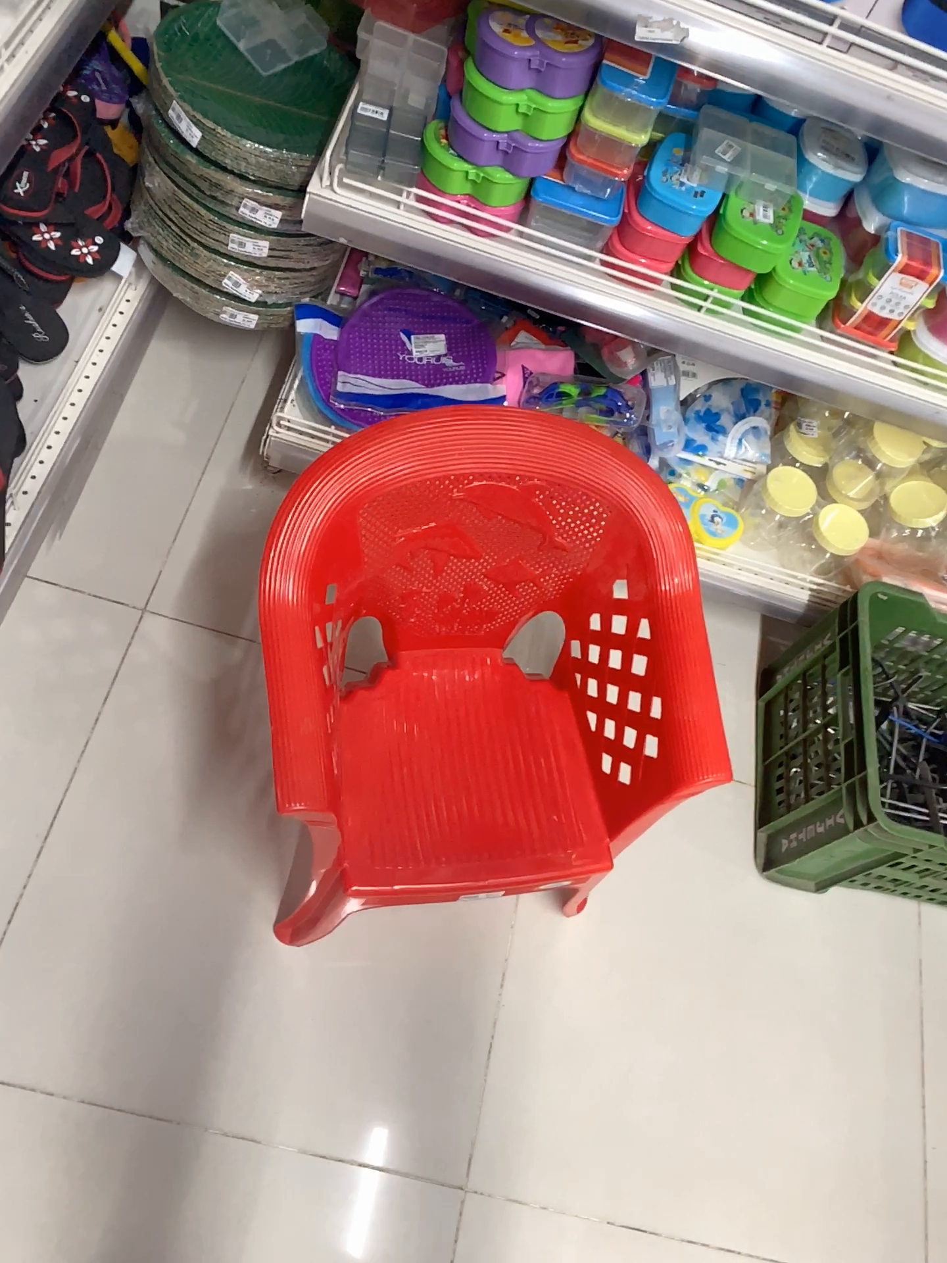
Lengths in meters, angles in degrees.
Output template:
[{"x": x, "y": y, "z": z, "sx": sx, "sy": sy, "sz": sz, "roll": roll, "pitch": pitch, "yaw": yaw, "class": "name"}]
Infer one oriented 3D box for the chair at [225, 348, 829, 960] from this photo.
[{"x": -0.016, "y": 0.057, "z": 1.076, "sx": 0.501, "sy": 0.479, "sz": 0.490, "roll": 0, "pitch": 64, "yaw": -14, "class": "chair"}]
